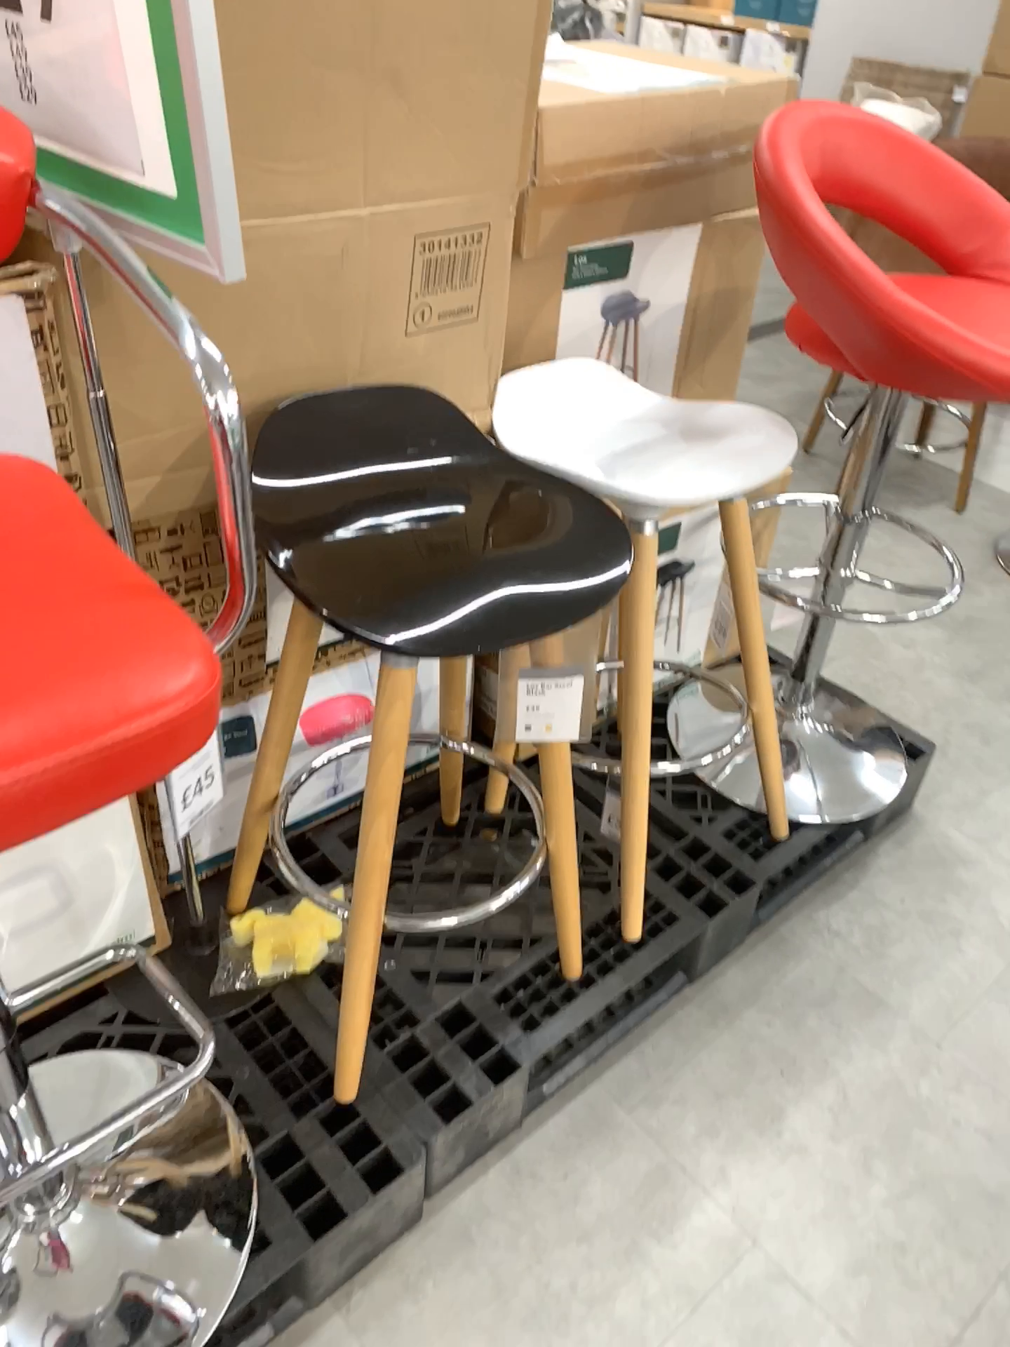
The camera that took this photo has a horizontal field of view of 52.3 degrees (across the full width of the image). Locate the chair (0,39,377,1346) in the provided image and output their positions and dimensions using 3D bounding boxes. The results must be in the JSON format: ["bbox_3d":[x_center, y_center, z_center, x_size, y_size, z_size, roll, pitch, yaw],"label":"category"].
[{"bbox_3d":[-0.458,0.170,0.753,0.452,1.030,0.551,32,44,33],"label":"chair"}]

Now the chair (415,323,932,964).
[{"bbox_3d":[0.184,-0.062,1.460,0.410,0.663,0.482,-25,45,-34],"label":"chair"}]

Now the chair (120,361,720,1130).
[{"bbox_3d":[-0.114,0.067,1.209,0.430,0.673,0.432,-20,42,-29],"label":"chair"}]

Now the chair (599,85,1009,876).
[{"bbox_3d":[0.533,-0.288,1.561,0.452,0.980,0.511,32,44,33],"label":"chair"}]
